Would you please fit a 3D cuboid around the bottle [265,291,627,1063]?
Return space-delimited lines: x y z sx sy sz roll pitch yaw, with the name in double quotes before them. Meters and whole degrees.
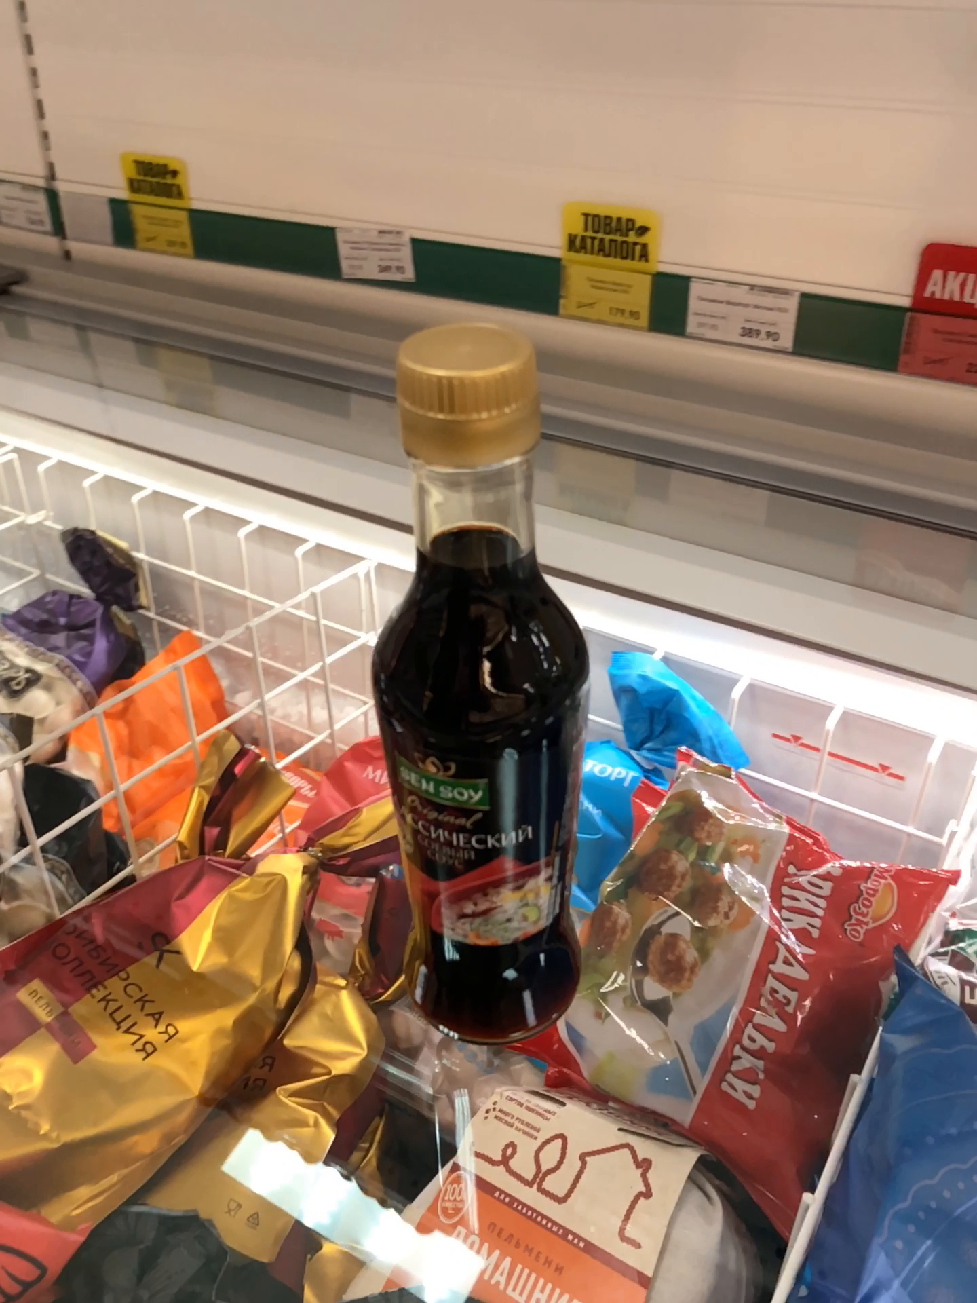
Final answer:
"bottle" -0.005 0.017 0.271 0.058 0.192 0.060 0 37 0
